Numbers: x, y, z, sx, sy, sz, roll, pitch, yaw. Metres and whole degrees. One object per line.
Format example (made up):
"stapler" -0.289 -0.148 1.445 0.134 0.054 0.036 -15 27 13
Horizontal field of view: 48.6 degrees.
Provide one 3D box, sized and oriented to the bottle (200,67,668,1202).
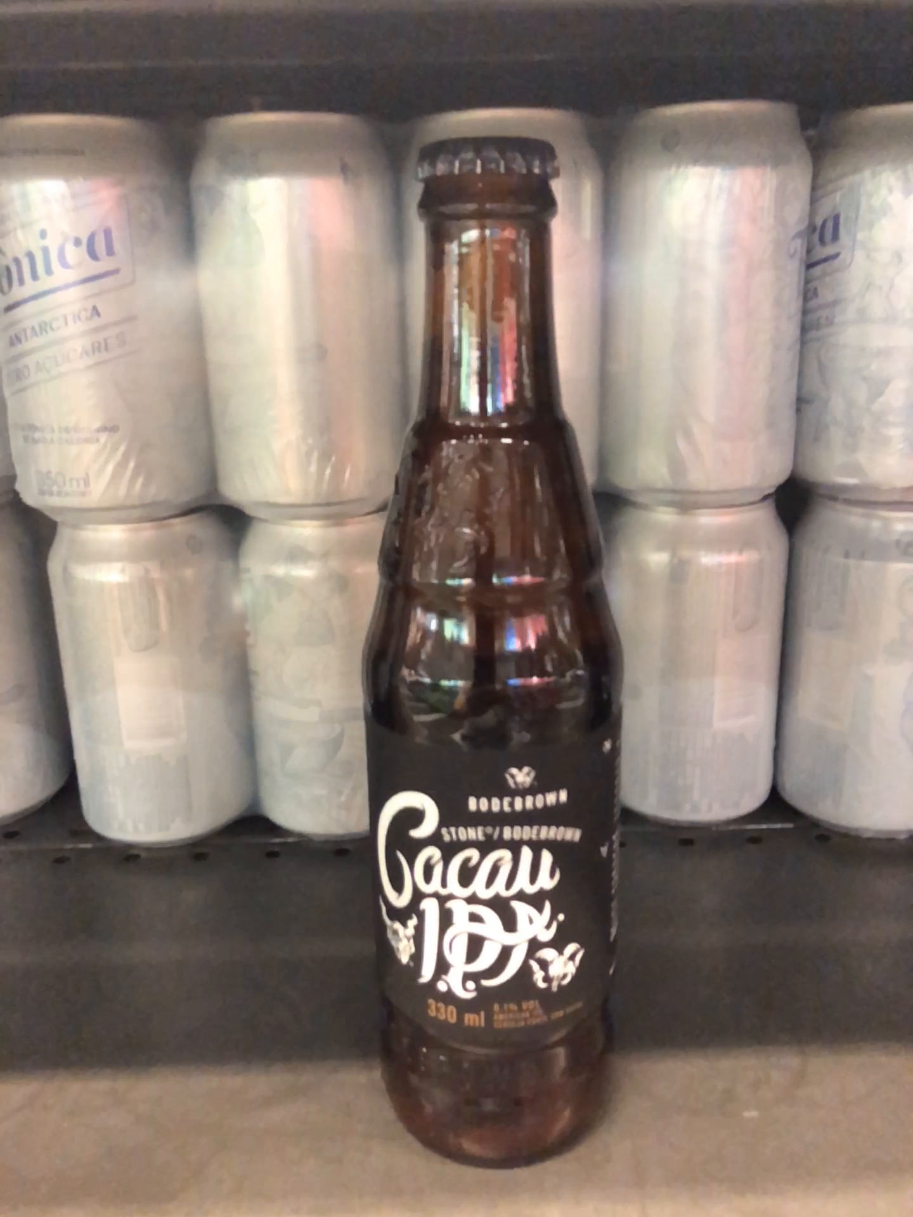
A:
"bottle" 0.001 0.015 0.245 0.080 0.249 0.070 2 19 6
